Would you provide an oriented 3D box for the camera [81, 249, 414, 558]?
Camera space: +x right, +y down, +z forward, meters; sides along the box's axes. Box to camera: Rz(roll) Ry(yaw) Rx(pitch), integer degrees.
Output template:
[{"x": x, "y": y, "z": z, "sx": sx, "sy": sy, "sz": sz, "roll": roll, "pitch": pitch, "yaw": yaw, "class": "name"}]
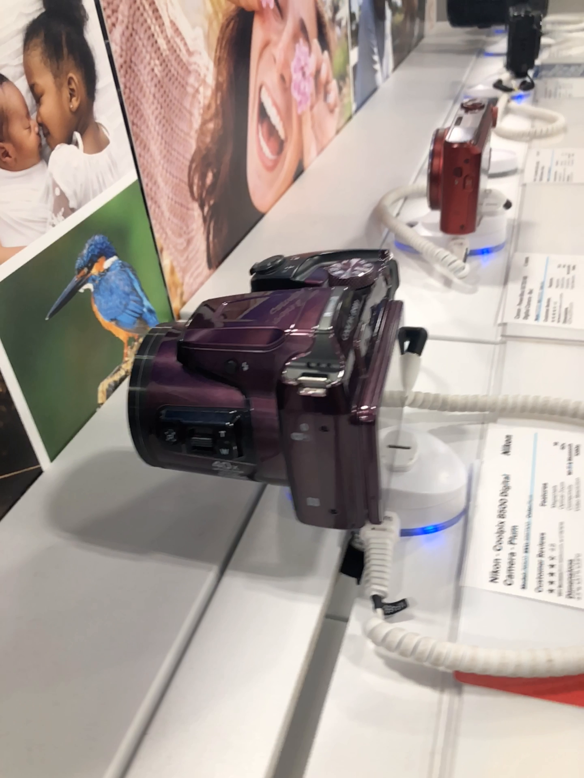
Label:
[{"x": -0.005, "y": -0.003, "z": 0.269, "sx": 0.100, "sy": 0.060, "sz": 0.121, "roll": 2, "pitch": 37, "yaw": 14, "class": "camera"}]
